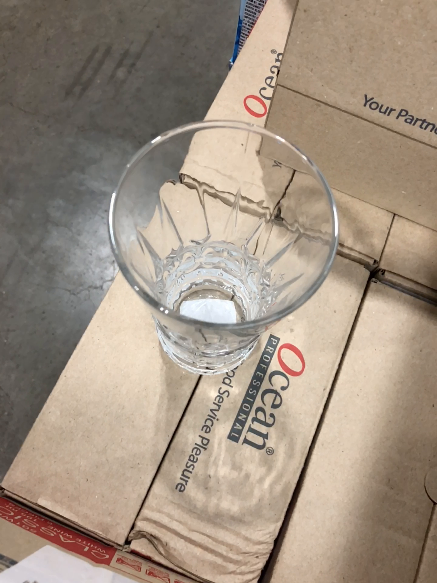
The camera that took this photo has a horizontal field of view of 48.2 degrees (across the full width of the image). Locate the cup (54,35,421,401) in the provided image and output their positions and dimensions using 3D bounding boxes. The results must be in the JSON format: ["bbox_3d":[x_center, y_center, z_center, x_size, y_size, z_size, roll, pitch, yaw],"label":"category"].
[{"bbox_3d":[-0.002,-0.019,0.220,0.100,0.130,0.100,2,70,-5],"label":"cup"}]
